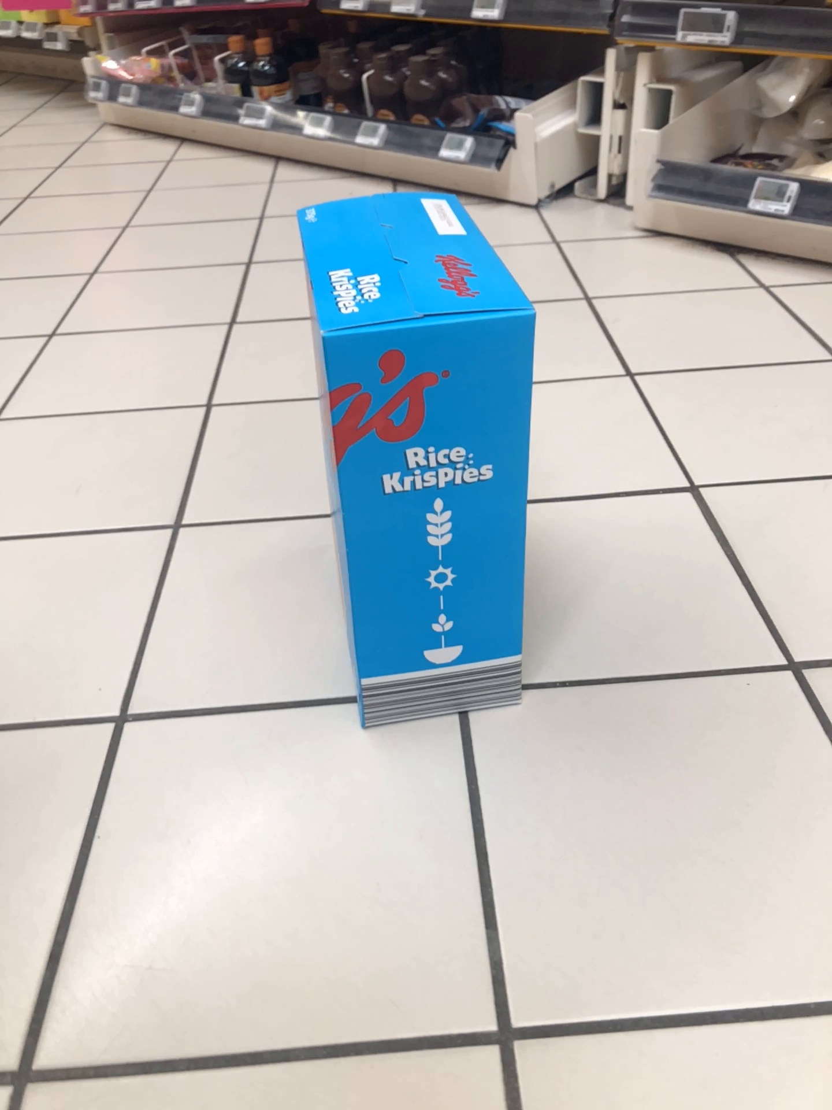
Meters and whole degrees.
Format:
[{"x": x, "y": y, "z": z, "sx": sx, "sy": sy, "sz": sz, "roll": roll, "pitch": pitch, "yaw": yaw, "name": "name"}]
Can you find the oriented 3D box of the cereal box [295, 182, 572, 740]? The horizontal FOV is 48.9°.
[{"x": 0.003, "y": -0.059, "z": 0.524, "sx": 0.110, "sy": 0.239, "sz": 0.201, "roll": -7, "pitch": 36, "yaw": -4, "name": "cereal box"}]
